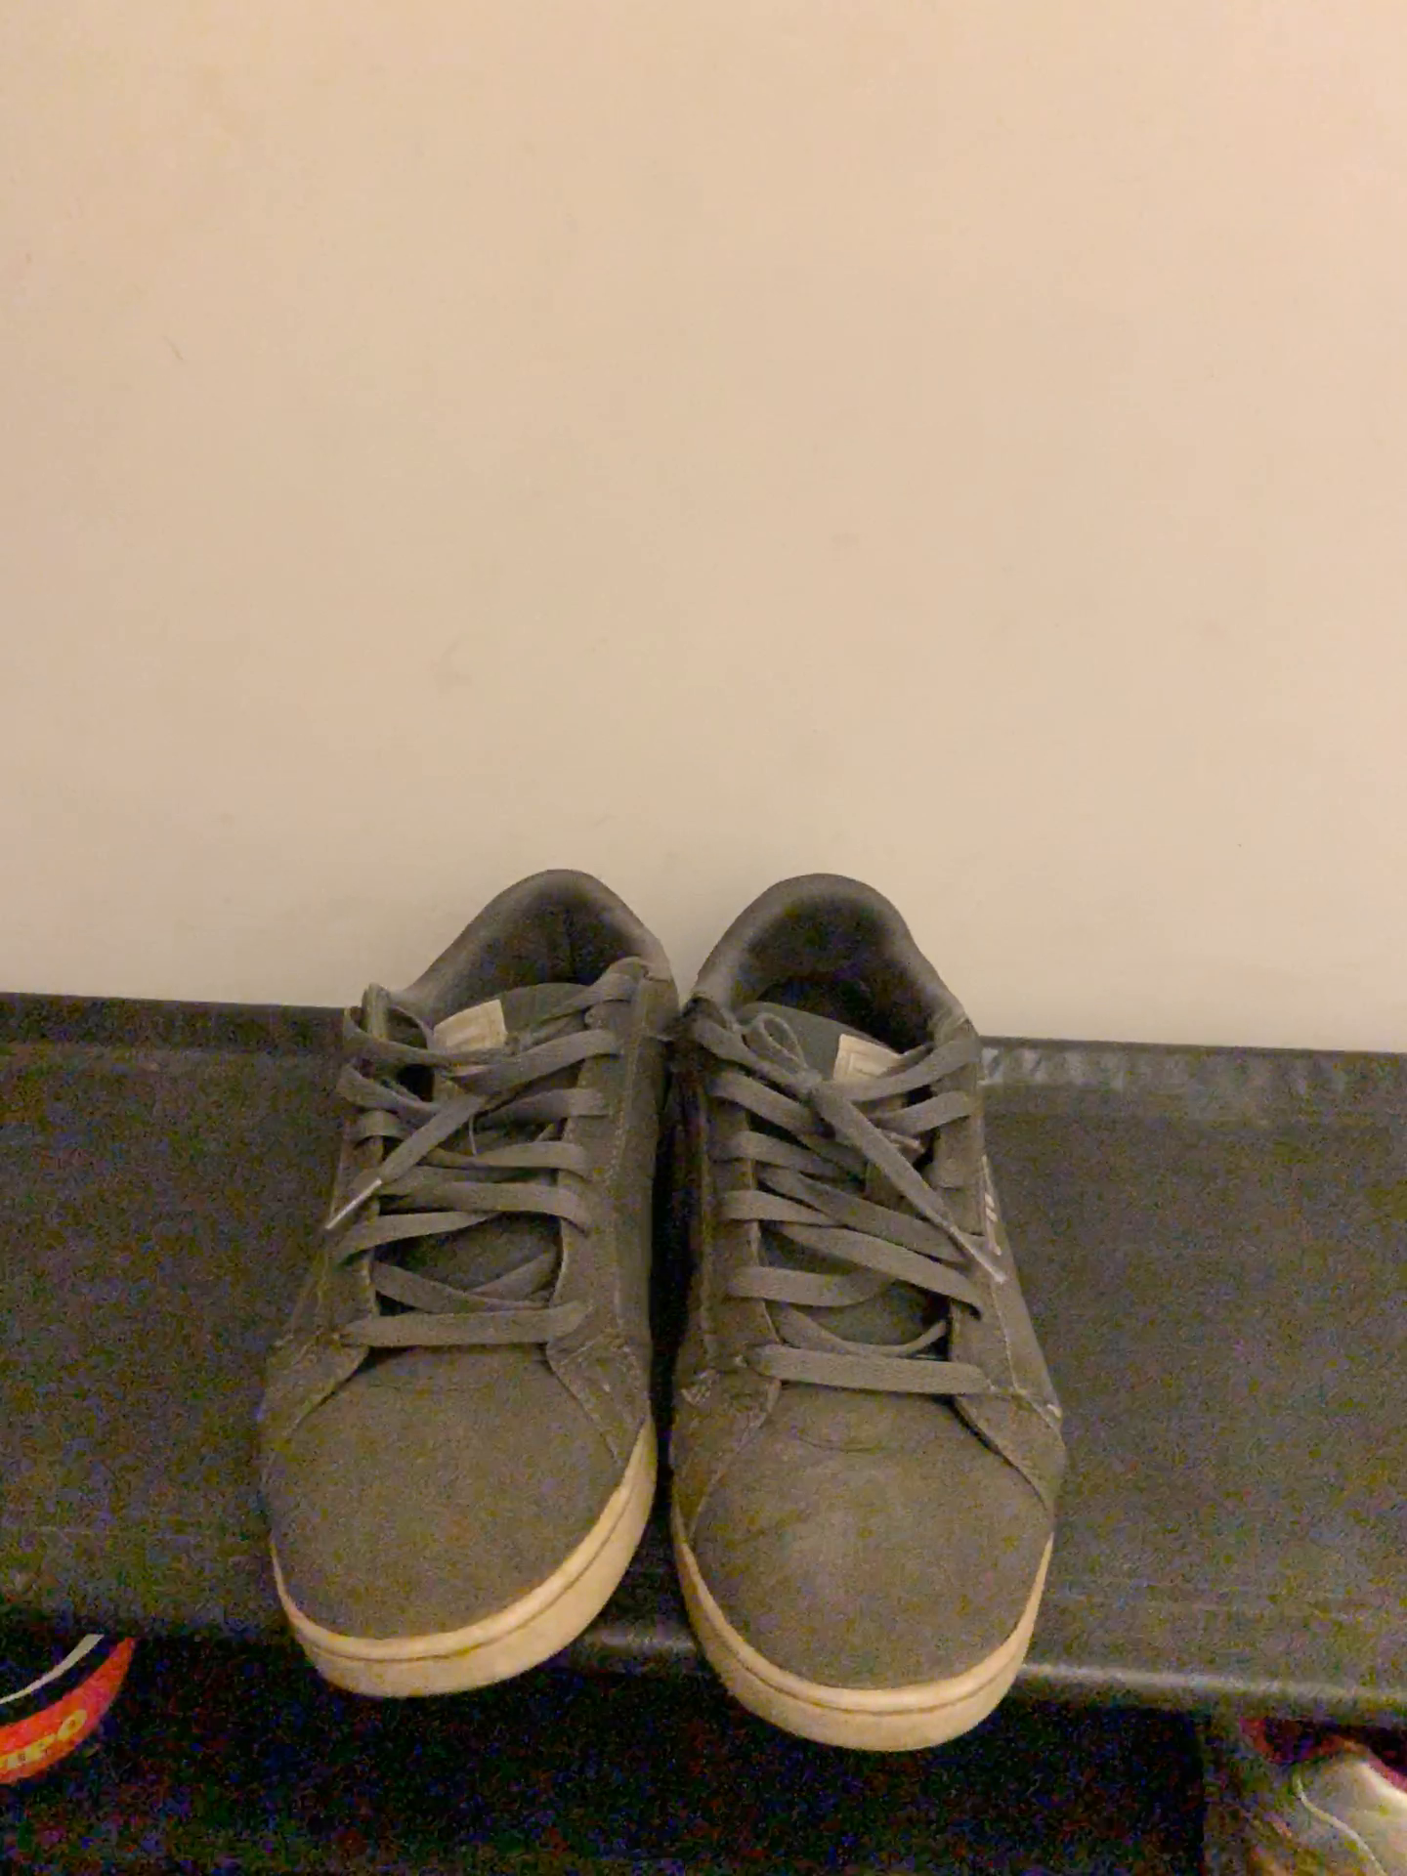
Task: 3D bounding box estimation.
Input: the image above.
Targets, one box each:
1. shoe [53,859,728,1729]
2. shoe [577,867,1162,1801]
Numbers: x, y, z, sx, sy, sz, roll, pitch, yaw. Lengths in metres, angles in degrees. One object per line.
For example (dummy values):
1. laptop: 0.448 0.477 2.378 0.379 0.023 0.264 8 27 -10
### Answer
1. shoe: -0.063 0.076 0.434 0.120 0.079 0.272 1 31 5
2. shoe: 0.048 0.086 0.448 0.120 0.079 0.303 1 31 5
